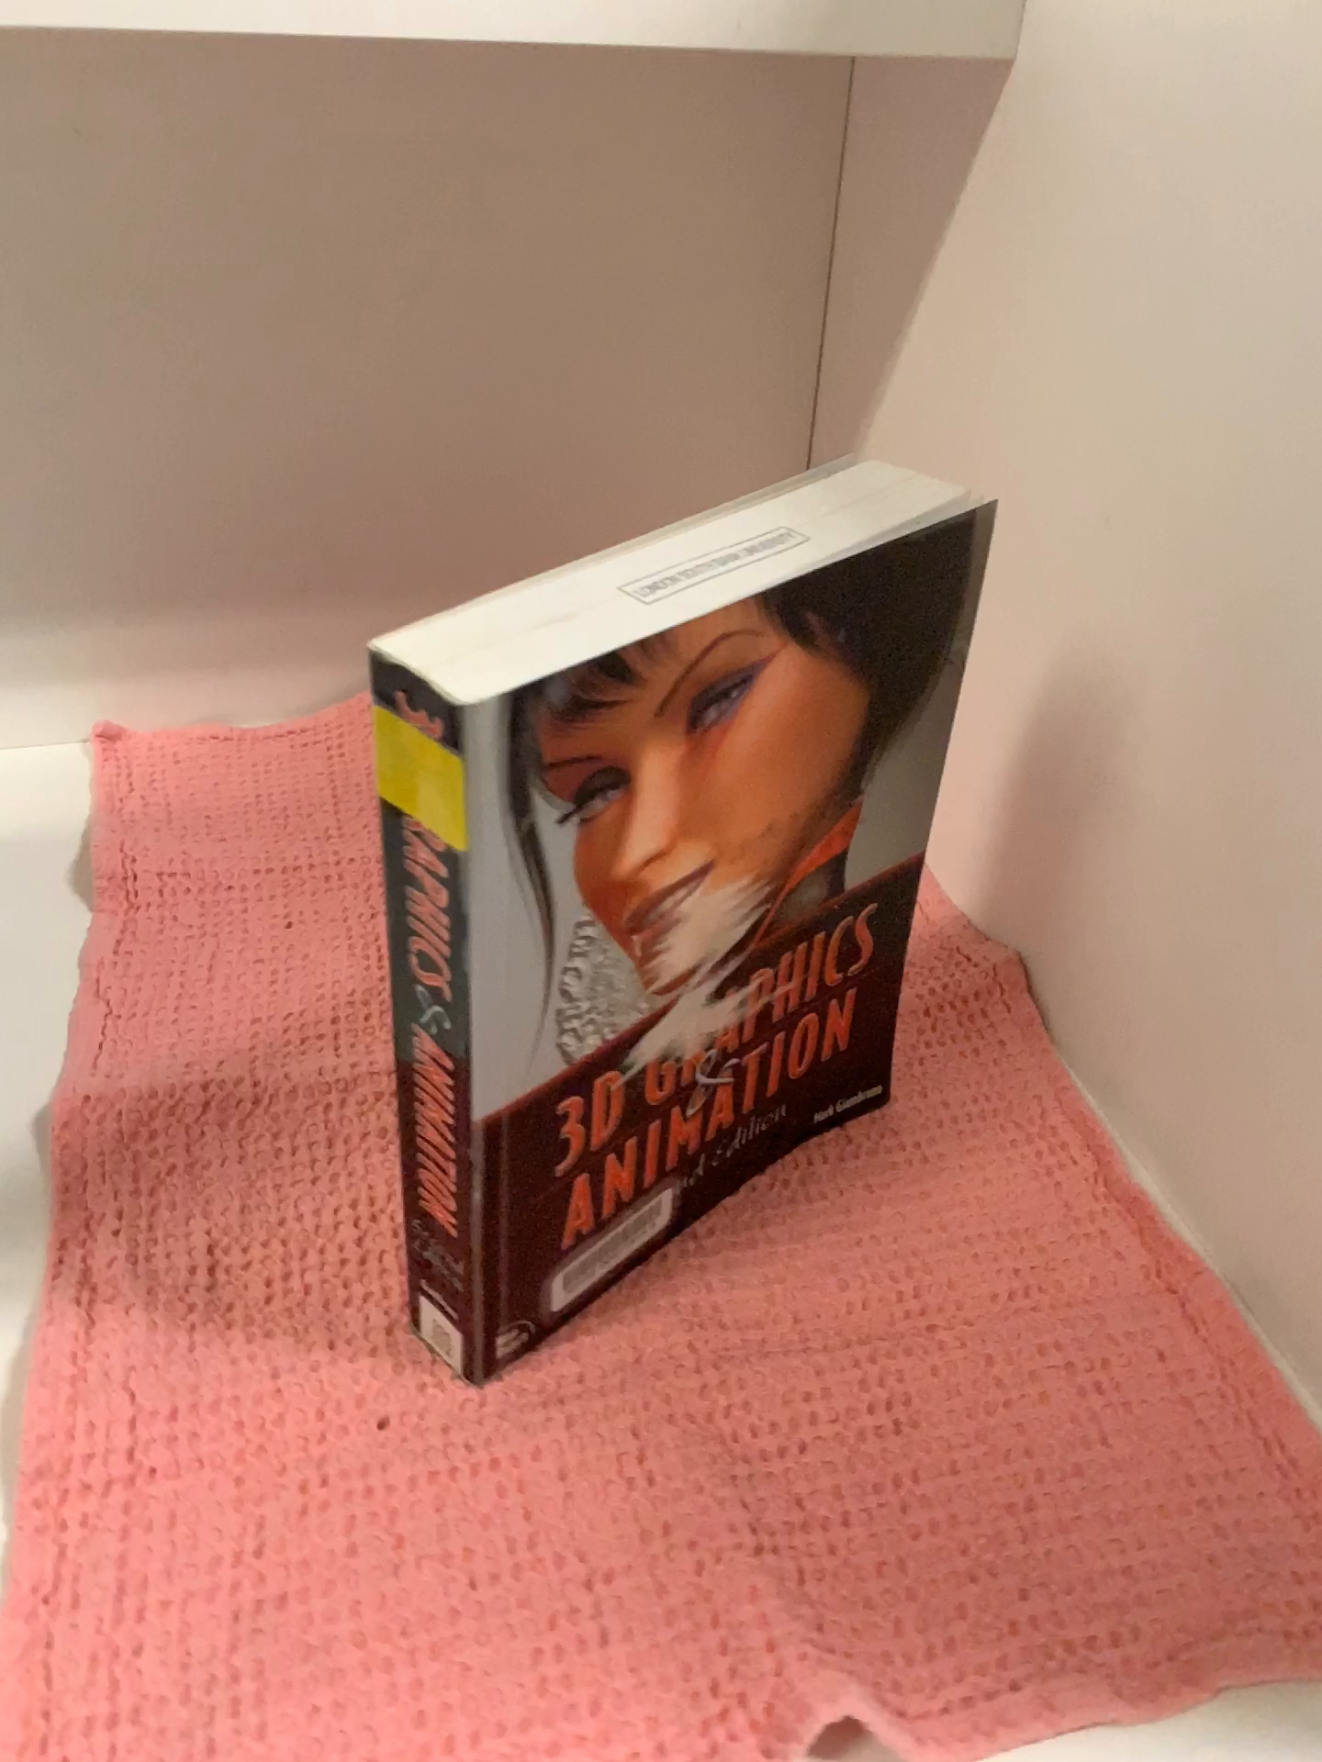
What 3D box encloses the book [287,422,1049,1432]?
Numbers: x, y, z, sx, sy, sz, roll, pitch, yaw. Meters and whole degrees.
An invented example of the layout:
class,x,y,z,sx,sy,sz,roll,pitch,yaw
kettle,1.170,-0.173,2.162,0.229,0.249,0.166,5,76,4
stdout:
class,x,y,z,sx,sy,sz,roll,pitch,yaw
book,0.009,0.007,0.404,0.060,0.228,0.221,30,43,30
